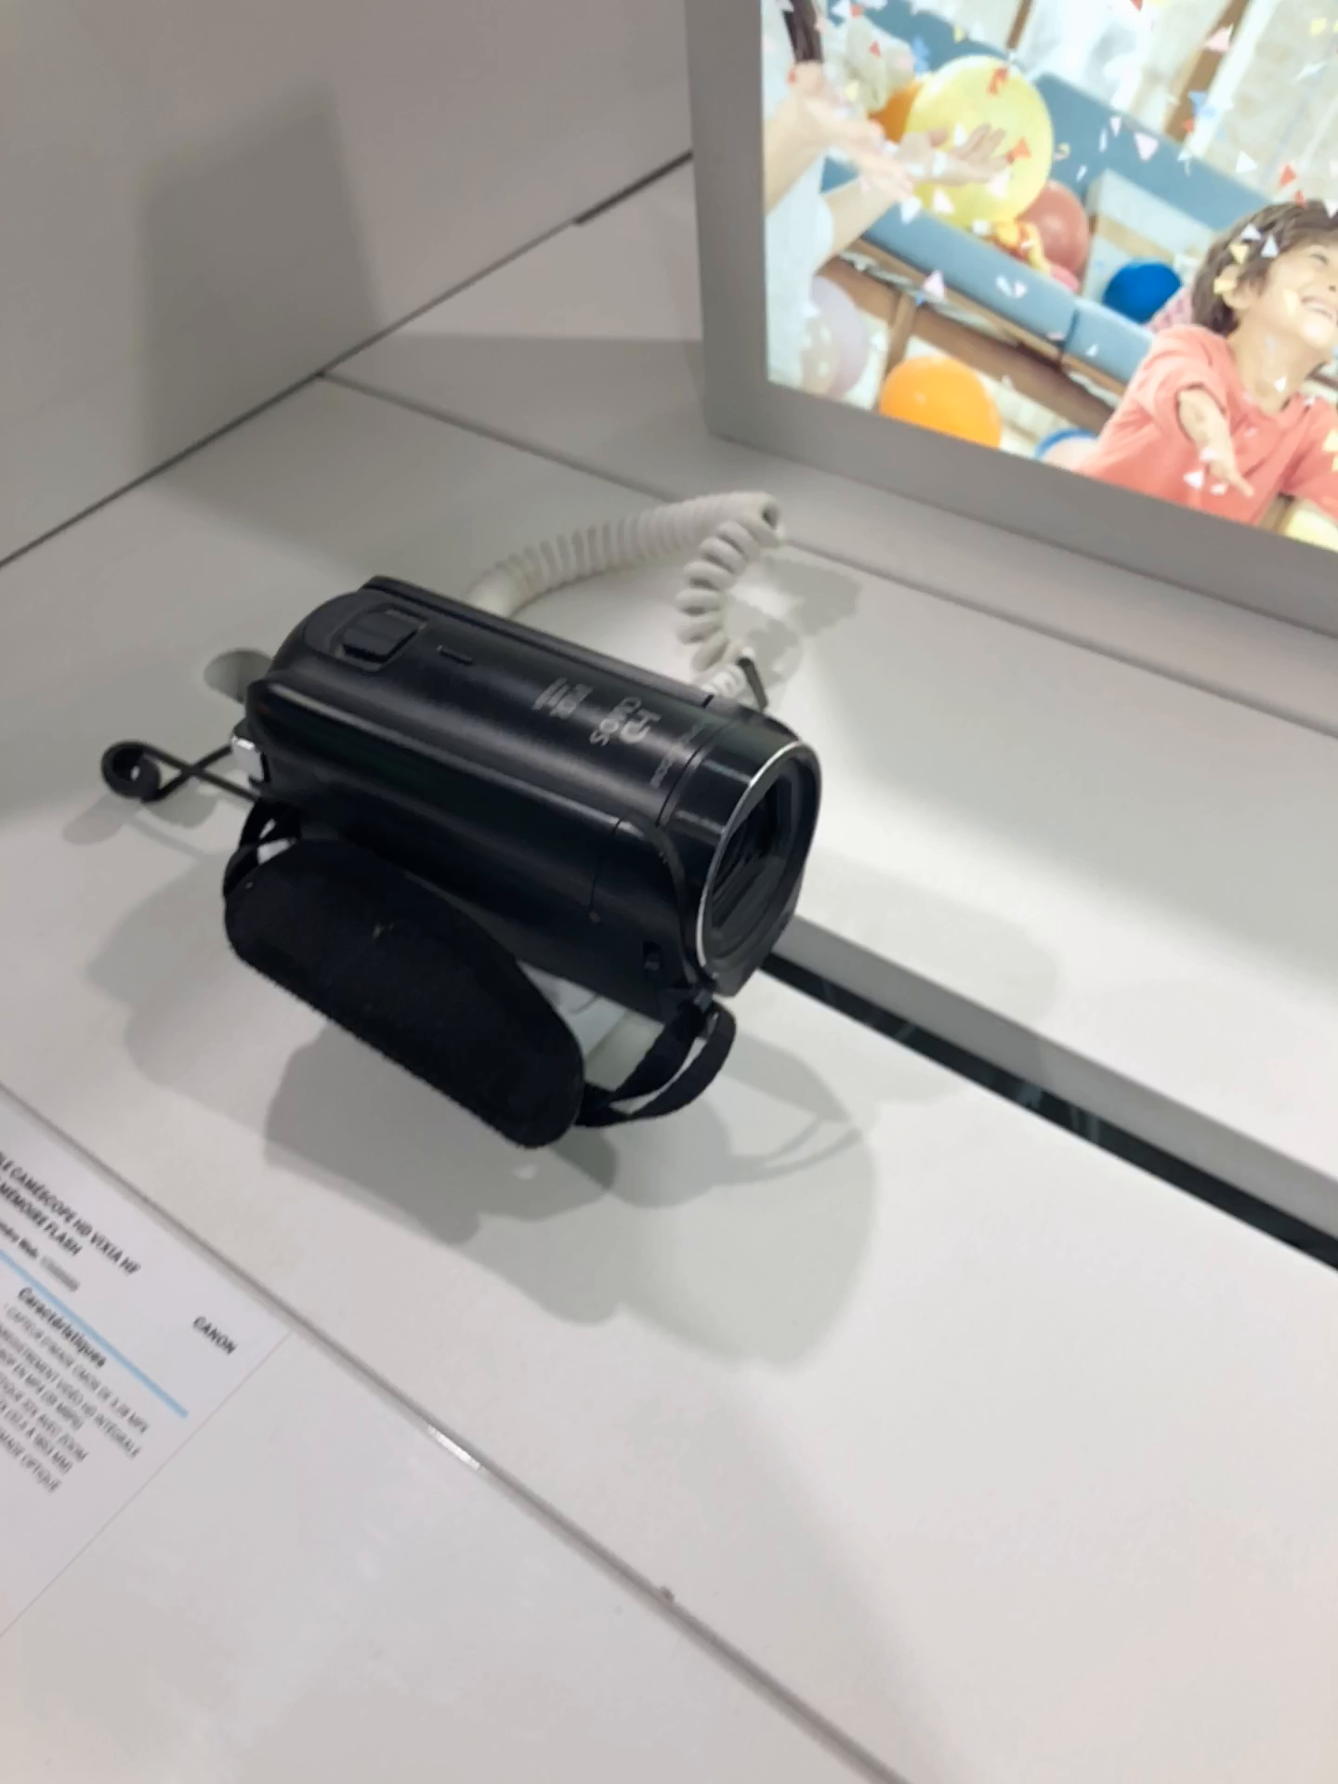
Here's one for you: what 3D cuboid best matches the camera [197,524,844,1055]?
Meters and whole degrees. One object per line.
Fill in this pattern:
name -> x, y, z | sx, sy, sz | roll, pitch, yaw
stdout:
camera -> -0.028, -0.024, 0.293 | 0.113, 0.050, 0.050 | 24, 53, 25
